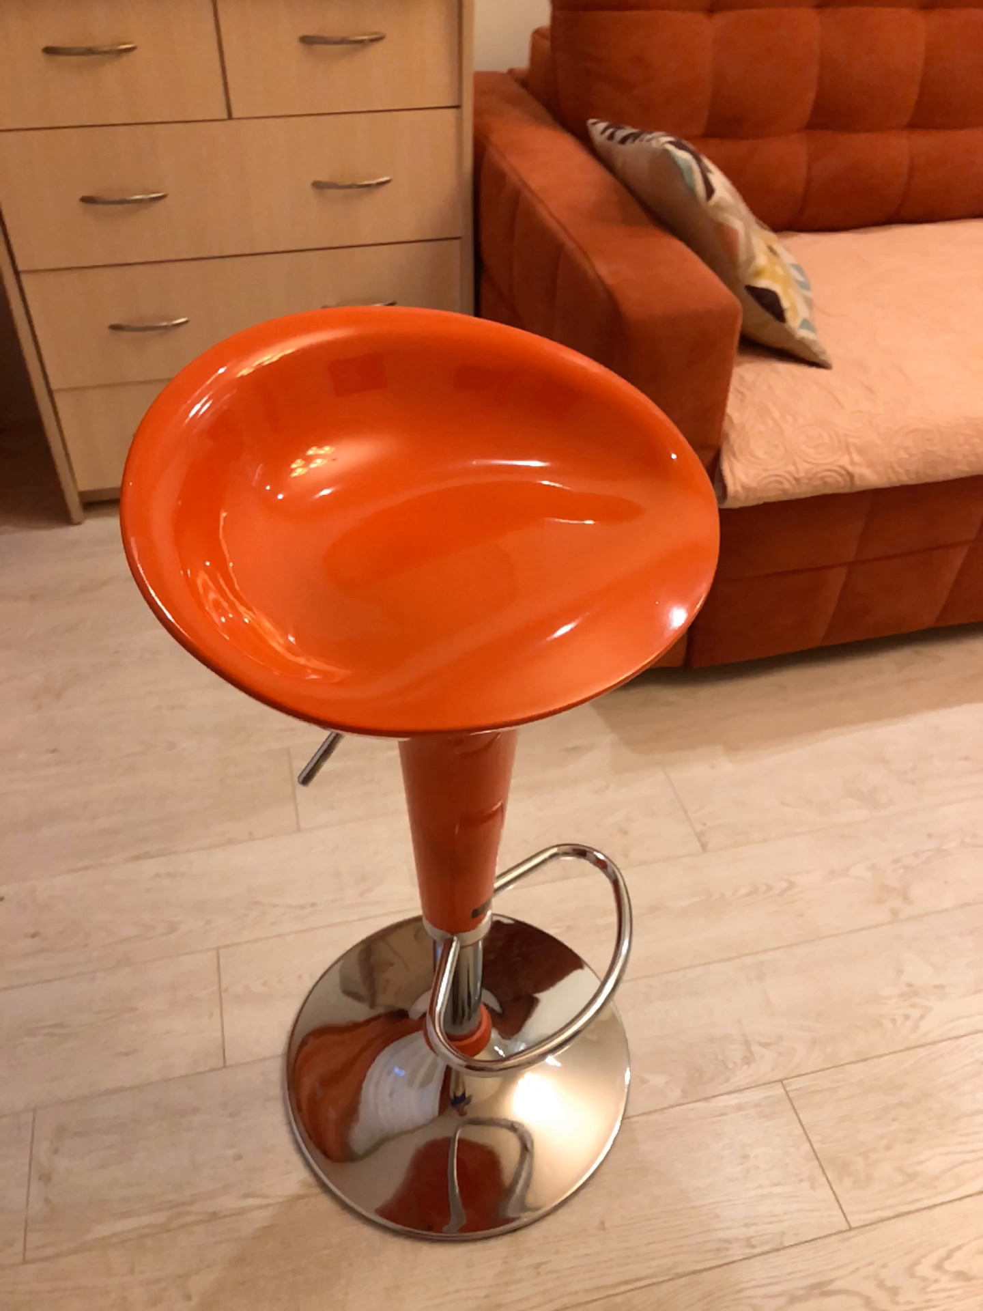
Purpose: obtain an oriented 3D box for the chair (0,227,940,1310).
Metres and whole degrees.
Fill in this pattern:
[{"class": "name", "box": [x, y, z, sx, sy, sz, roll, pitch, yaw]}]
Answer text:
[{"class": "chair", "box": [-0.004, 0.127, 0.869, 0.391, 0.735, 0.402, 27, 47, 27]}]
